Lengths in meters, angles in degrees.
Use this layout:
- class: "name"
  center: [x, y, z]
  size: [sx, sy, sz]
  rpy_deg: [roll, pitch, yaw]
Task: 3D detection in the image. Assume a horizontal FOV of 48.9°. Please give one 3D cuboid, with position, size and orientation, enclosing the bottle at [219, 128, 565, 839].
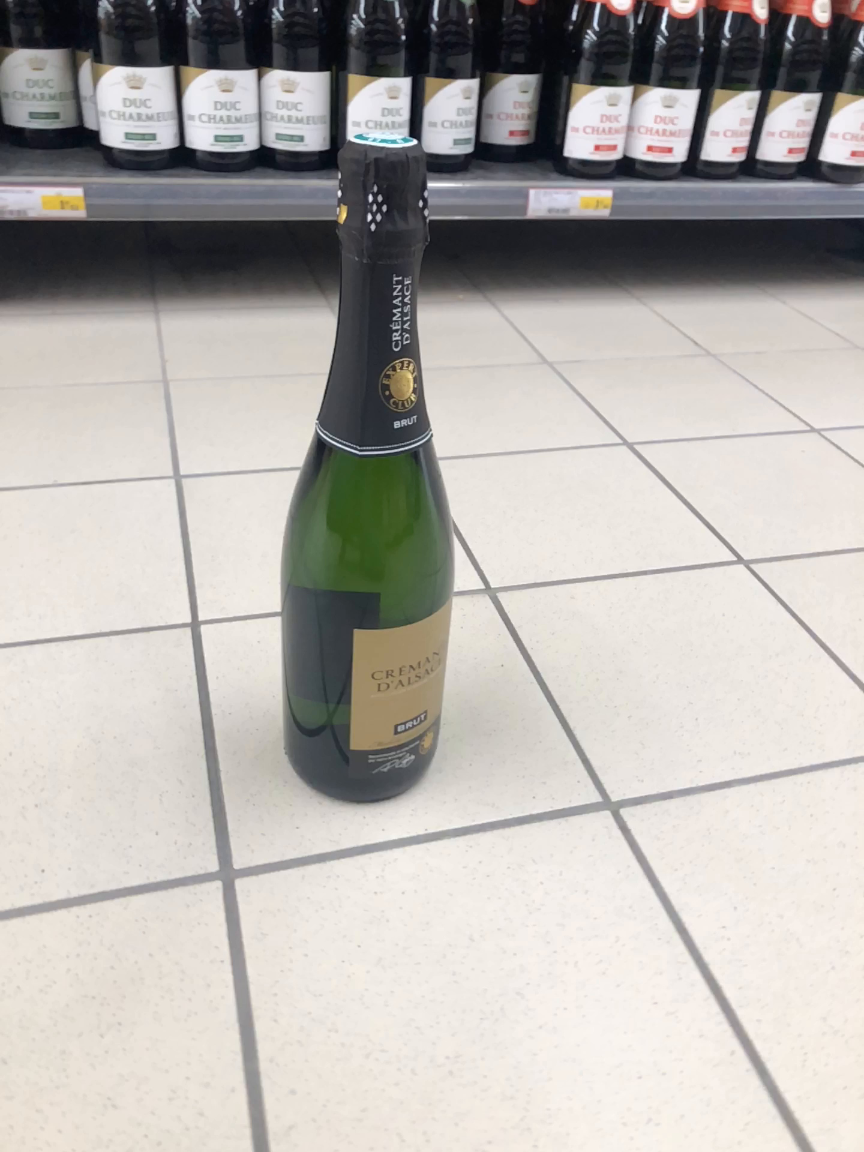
- class: "bottle"
  center: [-0.026, -0.033, 0.446]
  size: [0.100, 0.308, 0.090]
  rpy_deg: [-17, 38, -30]
